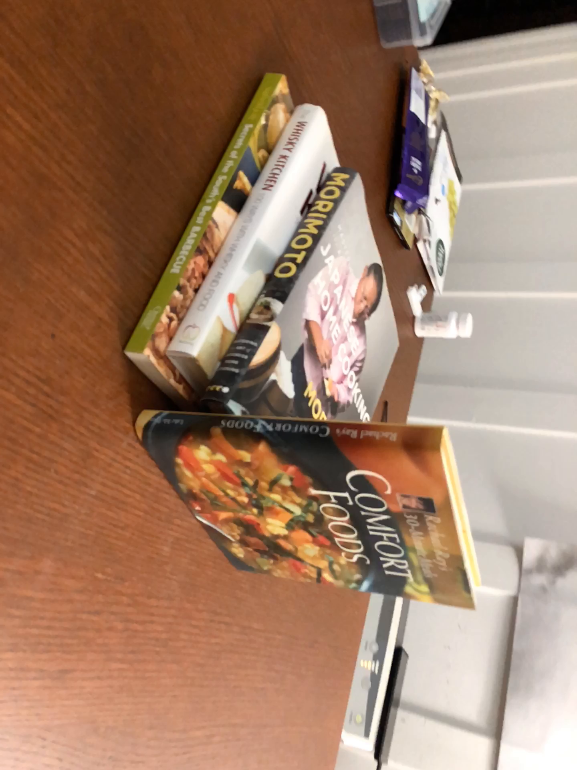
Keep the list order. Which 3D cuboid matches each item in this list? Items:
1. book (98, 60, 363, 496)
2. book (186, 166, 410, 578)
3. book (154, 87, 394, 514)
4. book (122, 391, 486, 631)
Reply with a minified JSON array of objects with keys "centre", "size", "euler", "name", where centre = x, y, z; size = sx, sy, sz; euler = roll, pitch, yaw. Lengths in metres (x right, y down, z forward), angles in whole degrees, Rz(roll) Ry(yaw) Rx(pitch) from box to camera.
[{"centre":[-0.019,-0.083,0.529],"size":[0.221,0.030,0.281],"euler":[57,47,-49],"name":"book"},{"centre":[0.034,-0.012,0.550],"size":[0.281,0.030,0.220],"euler":[-64,146,-33],"name":"book"},{"centre":[0.015,-0.067,0.537],"size":[0.221,0.030,0.281],"euler":[59,45,-48],"name":"book"},{"centre":[0.021,0.092,0.444],"size":[0.210,0.209,0.030],"euler":[67,36,-43],"name":"book"}]
